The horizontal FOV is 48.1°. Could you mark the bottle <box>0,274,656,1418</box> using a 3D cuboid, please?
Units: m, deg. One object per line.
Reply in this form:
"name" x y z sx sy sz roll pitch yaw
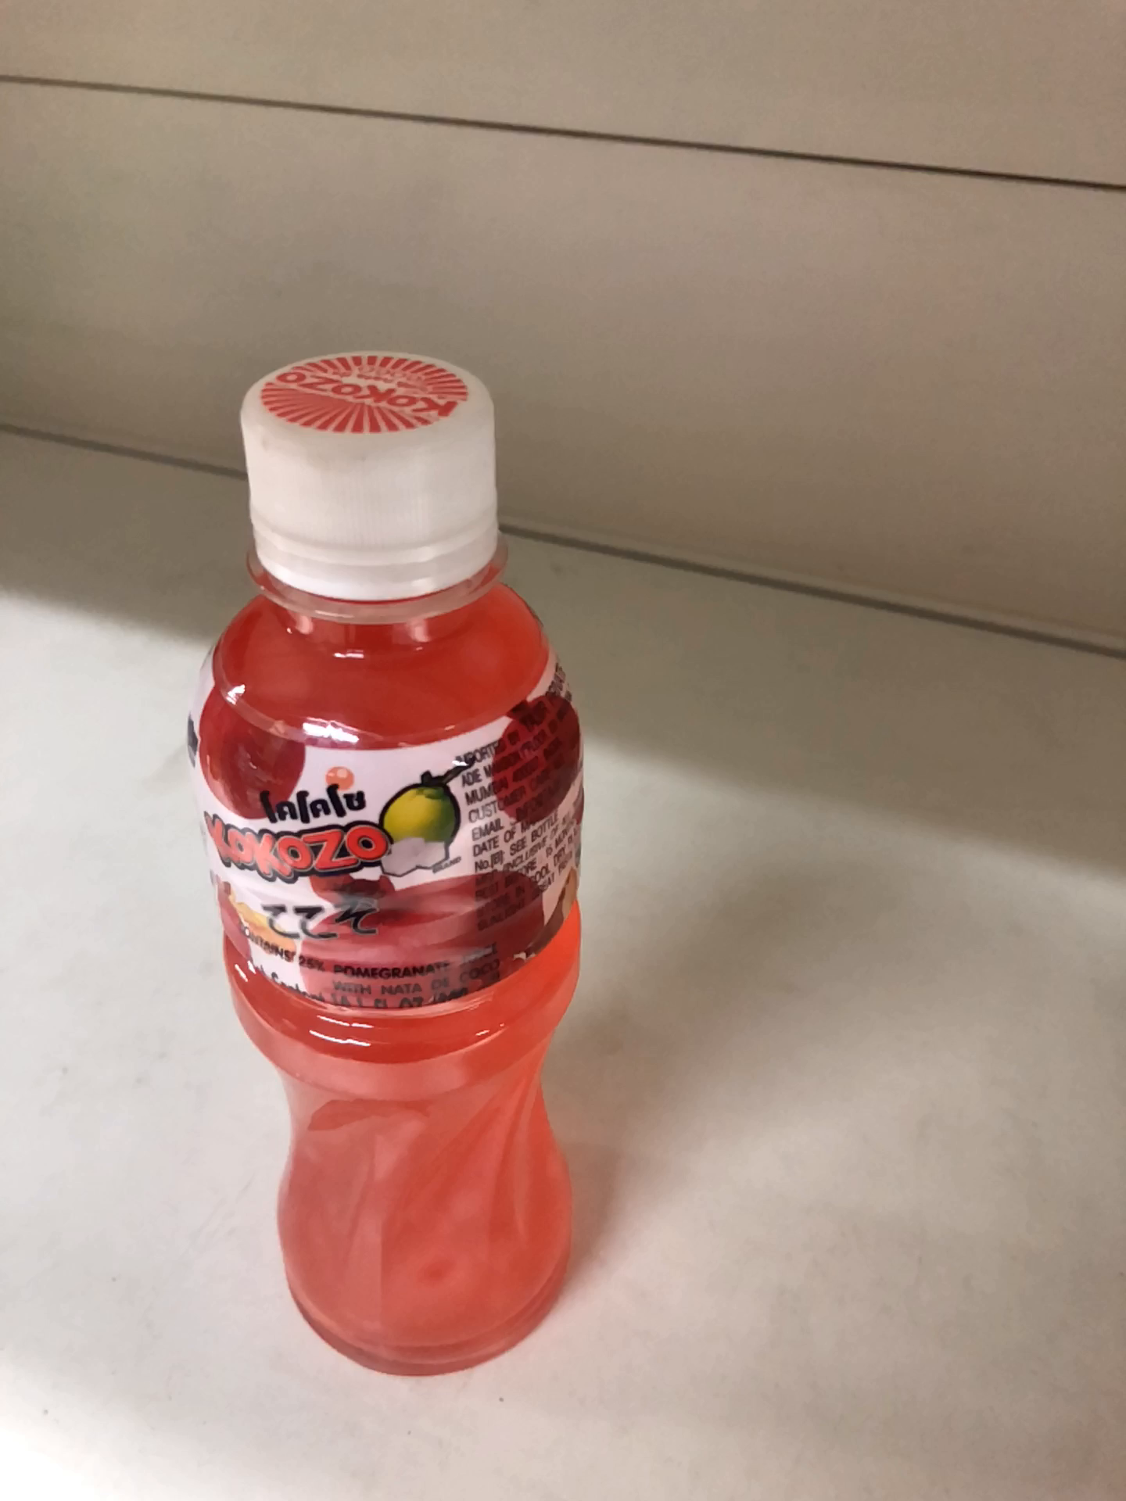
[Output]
"bottle" -0.025 0.024 0.191 0.060 0.169 0.050 9 35 10
